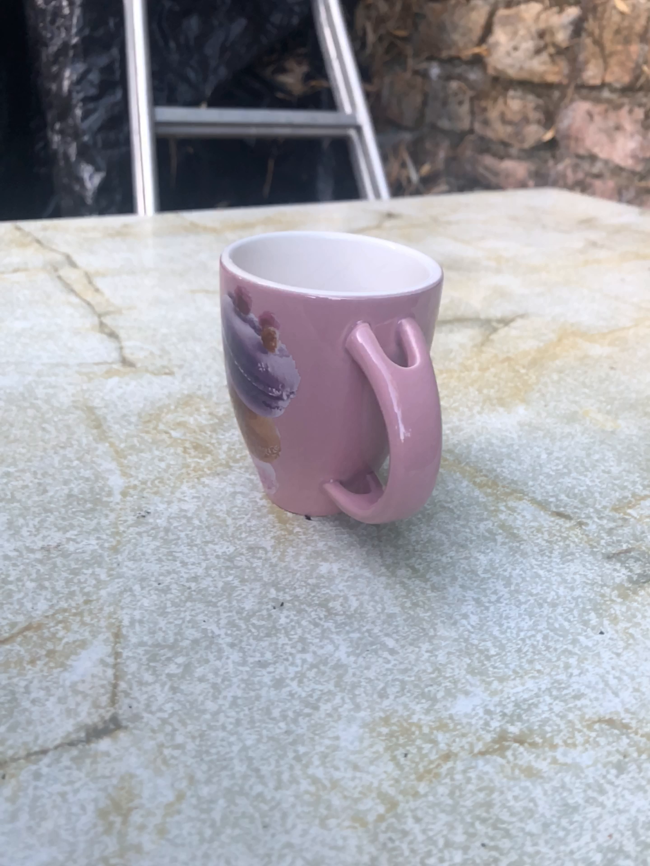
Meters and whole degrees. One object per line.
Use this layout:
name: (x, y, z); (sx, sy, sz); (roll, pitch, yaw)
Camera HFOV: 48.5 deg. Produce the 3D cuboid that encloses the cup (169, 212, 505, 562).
cup: (-0.005, -0.024, 0.250); (0.080, 0.080, 0.099); (-6, 30, -17)
